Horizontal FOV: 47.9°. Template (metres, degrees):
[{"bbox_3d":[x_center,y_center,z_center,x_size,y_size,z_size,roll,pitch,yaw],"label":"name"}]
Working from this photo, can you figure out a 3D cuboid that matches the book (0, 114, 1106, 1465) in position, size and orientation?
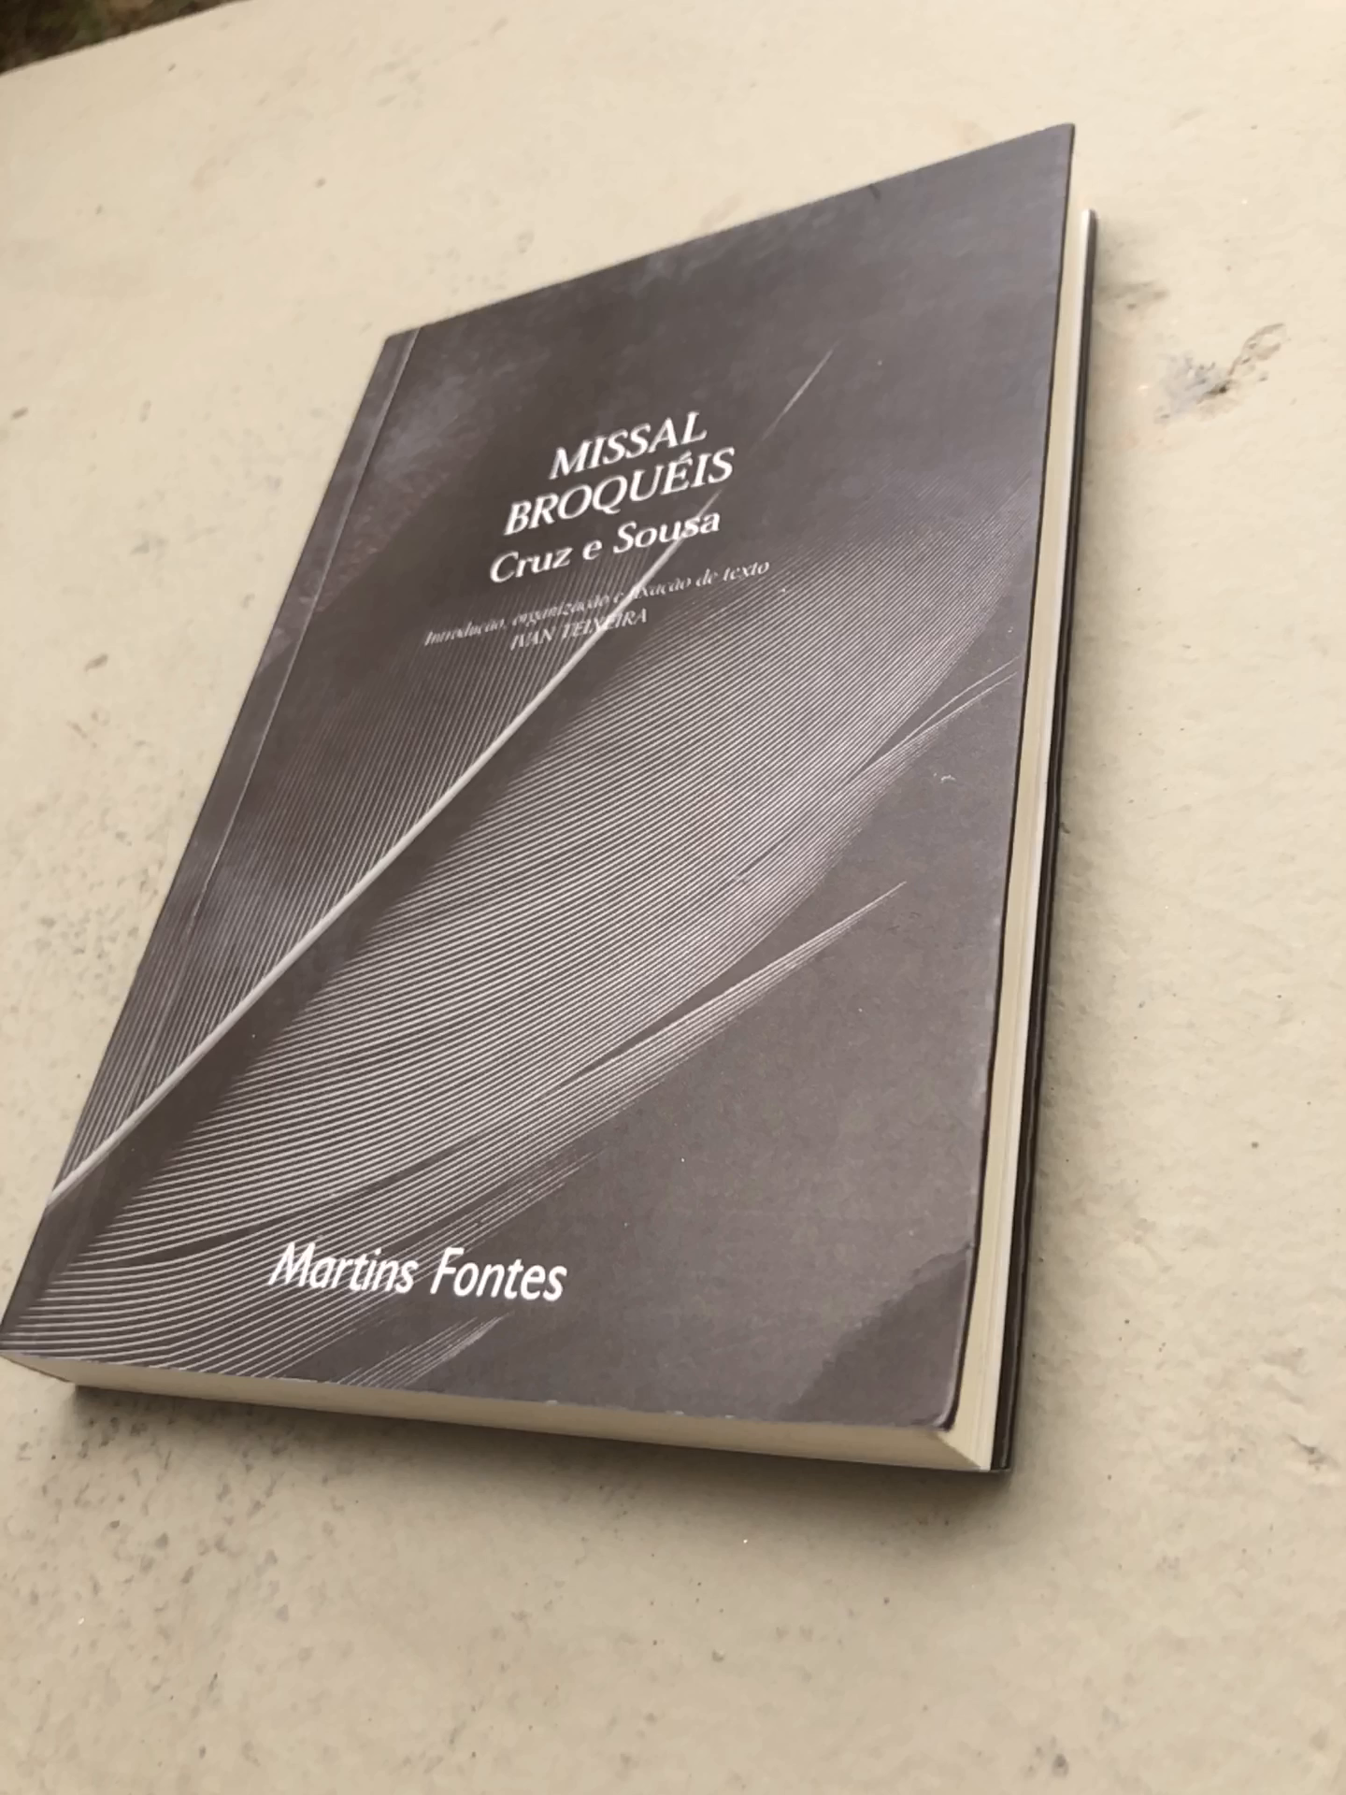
[{"bbox_3d":[-0.013,-0.024,0.200,0.128,0.016,0.174,-5,57,28],"label":"book"}]
